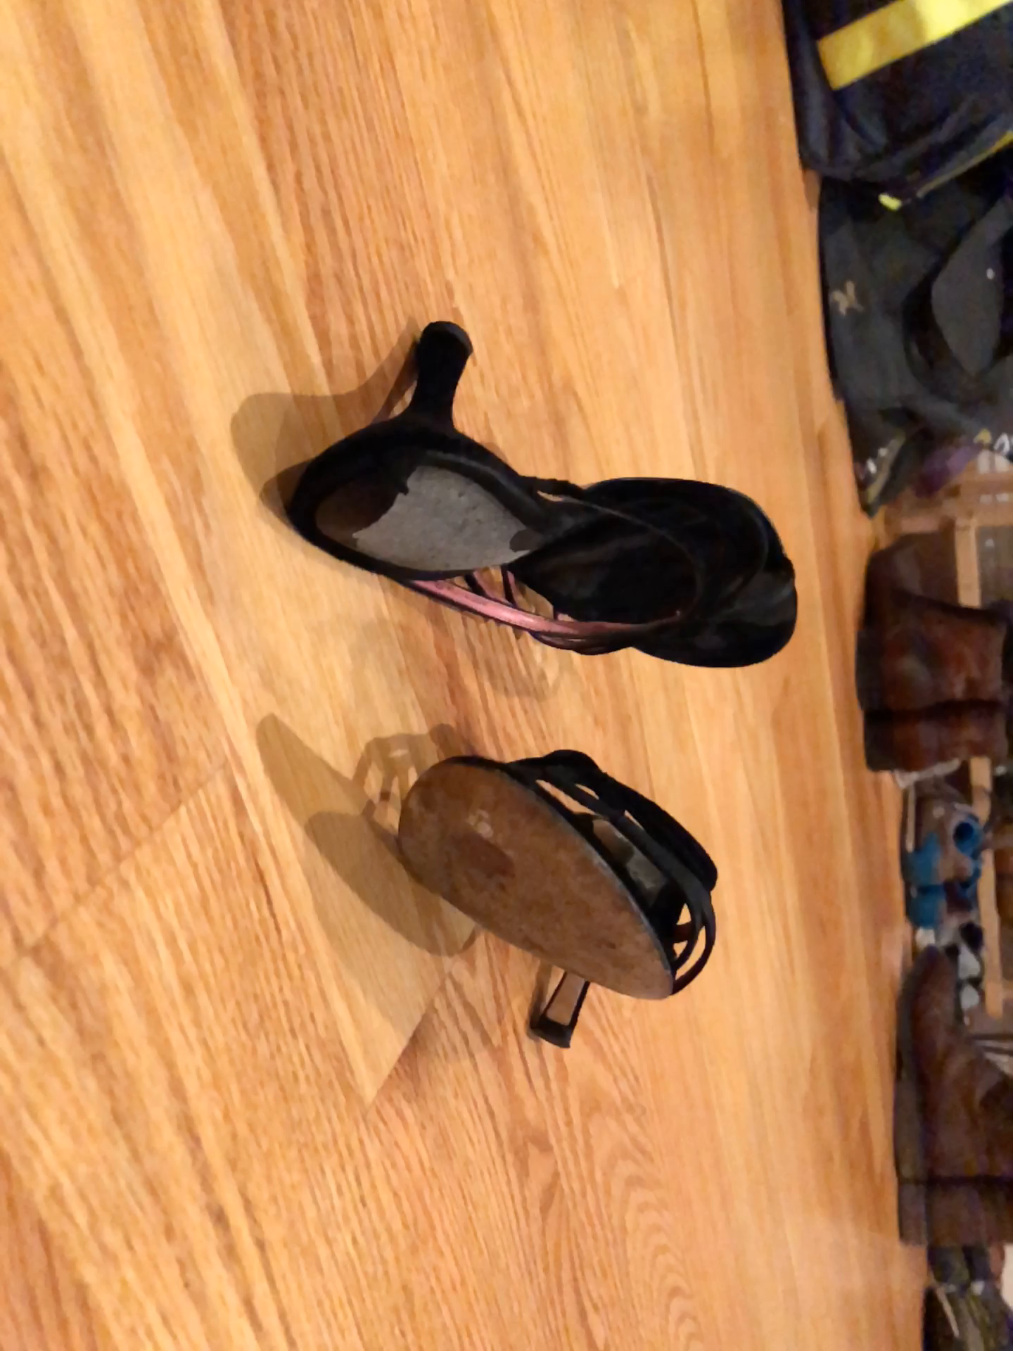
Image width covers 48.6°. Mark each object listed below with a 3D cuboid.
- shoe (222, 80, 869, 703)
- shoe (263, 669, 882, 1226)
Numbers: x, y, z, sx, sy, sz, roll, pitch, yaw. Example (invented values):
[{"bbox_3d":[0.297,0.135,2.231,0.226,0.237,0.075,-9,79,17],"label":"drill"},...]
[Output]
[{"bbox_3d":[0.038,-0.051,0.333,0.236,0.104,0.082,24,68,-63],"label":"shoe"},{"bbox_3d":[0.041,0.069,0.328,0.216,0.104,0.102,22,68,-63],"label":"shoe"}]
